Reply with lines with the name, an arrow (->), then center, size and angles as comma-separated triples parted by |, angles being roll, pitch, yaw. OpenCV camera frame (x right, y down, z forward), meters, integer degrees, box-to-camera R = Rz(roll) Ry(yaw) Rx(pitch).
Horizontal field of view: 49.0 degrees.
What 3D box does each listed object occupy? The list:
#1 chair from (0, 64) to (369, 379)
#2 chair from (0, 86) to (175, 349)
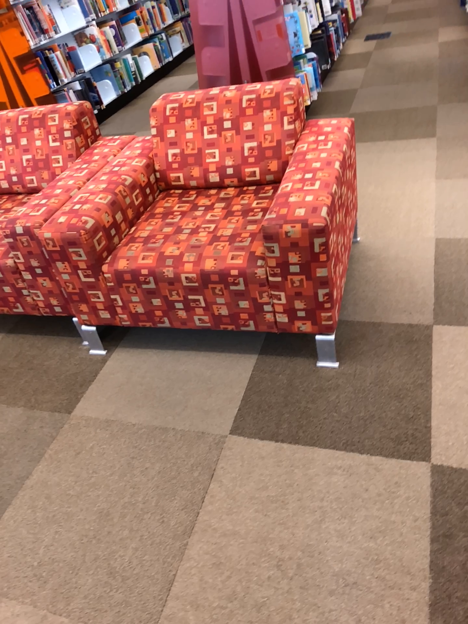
chair -> -0.057, -0.384, 1.954 | 1.004, 0.686, 0.995 | 2, 39, 19
chair -> -0.942, -0.449, 2.306 | 0.920, 0.716, 0.955 | 2, 39, 19
